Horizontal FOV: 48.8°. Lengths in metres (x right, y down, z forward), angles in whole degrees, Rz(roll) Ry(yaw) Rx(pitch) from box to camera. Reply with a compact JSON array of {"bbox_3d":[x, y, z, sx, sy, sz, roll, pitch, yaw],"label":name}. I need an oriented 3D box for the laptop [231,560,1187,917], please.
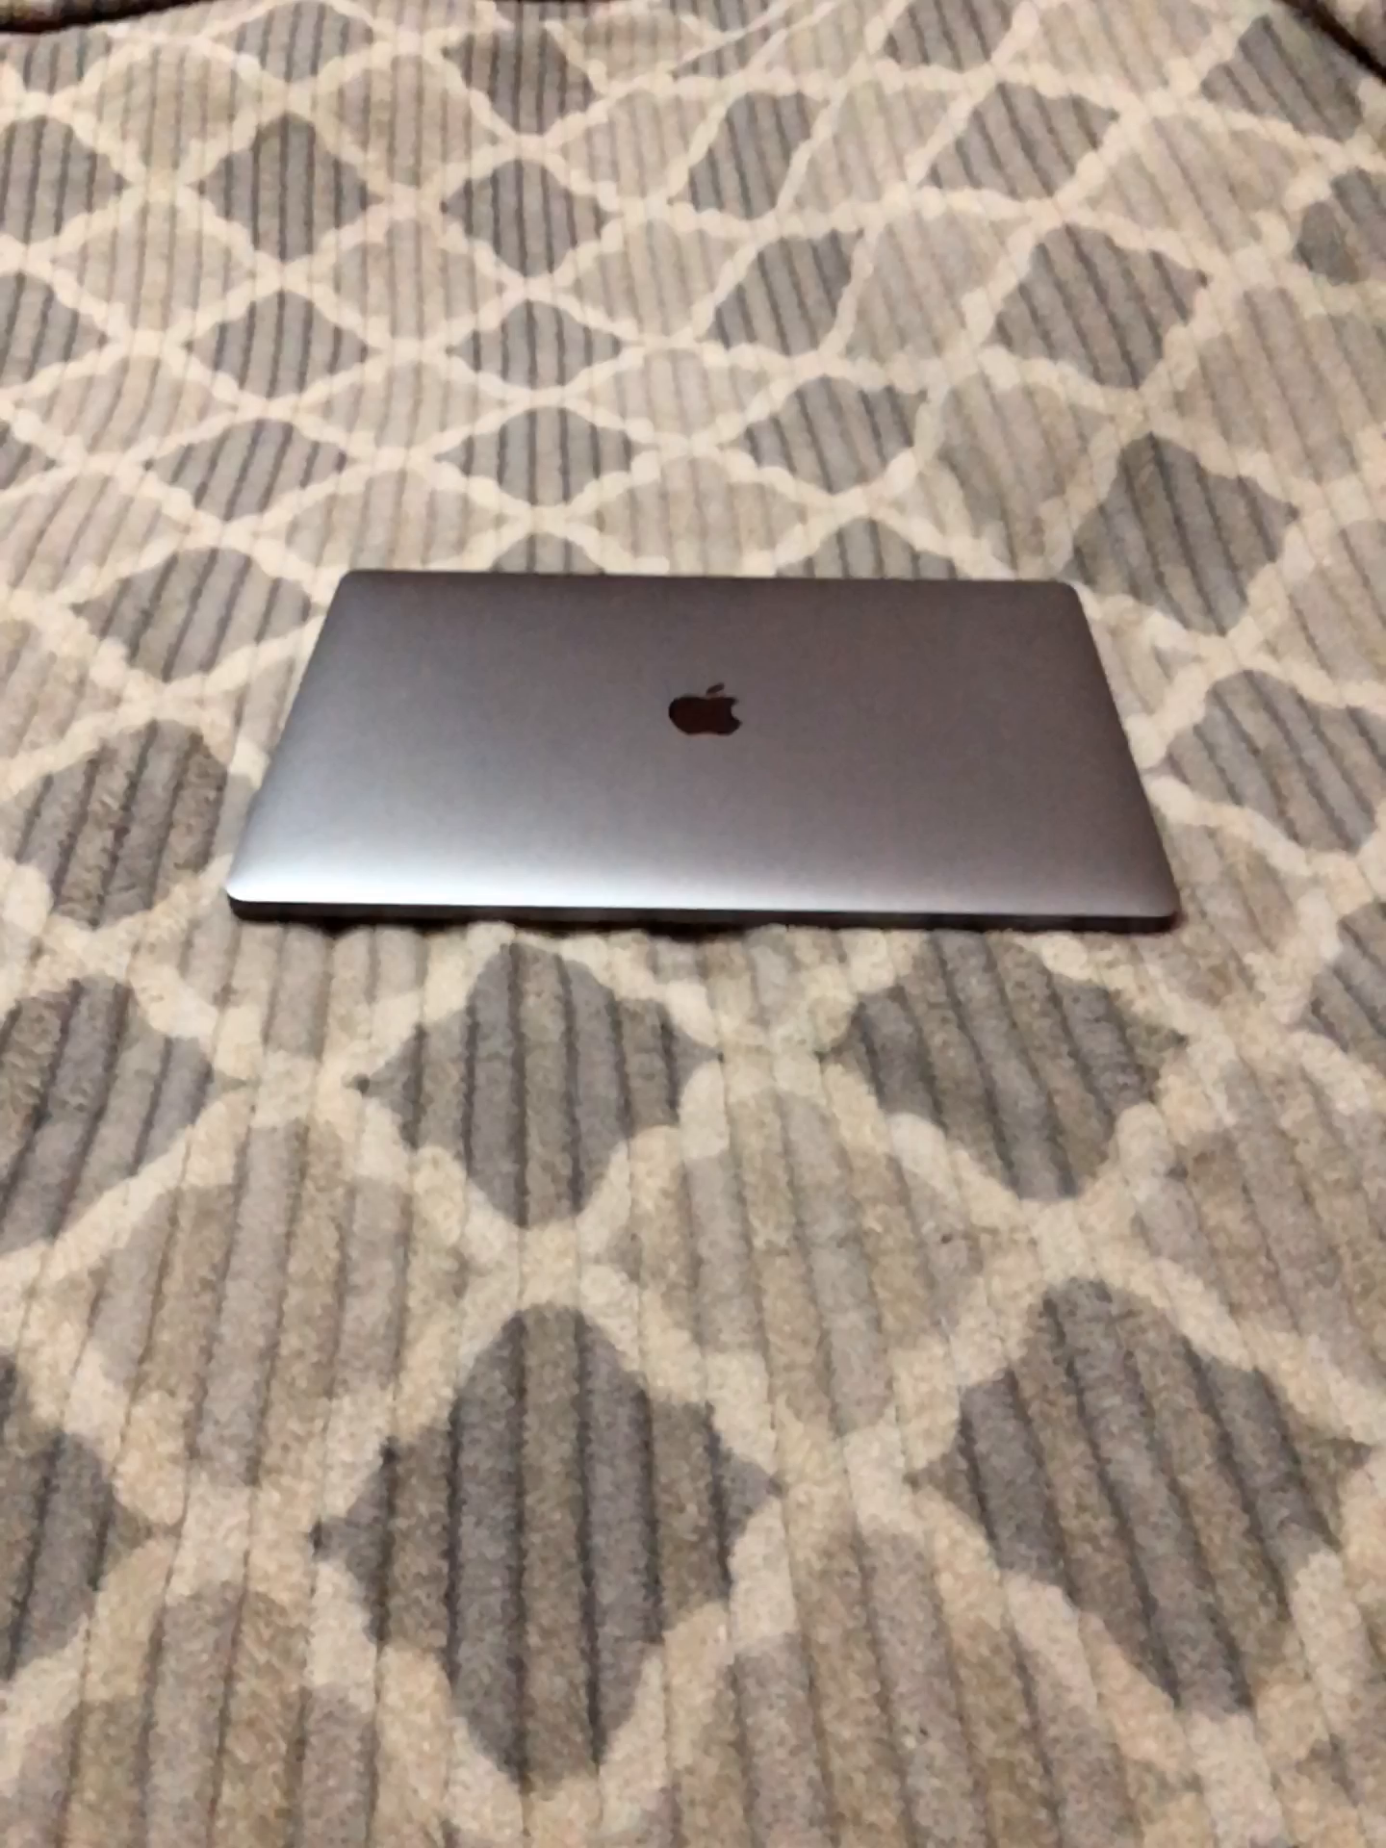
[{"bbox_3d":[0.006,-0.092,0.666,0.358,0.007,0.247,1,41,1],"label":"laptop"}]
